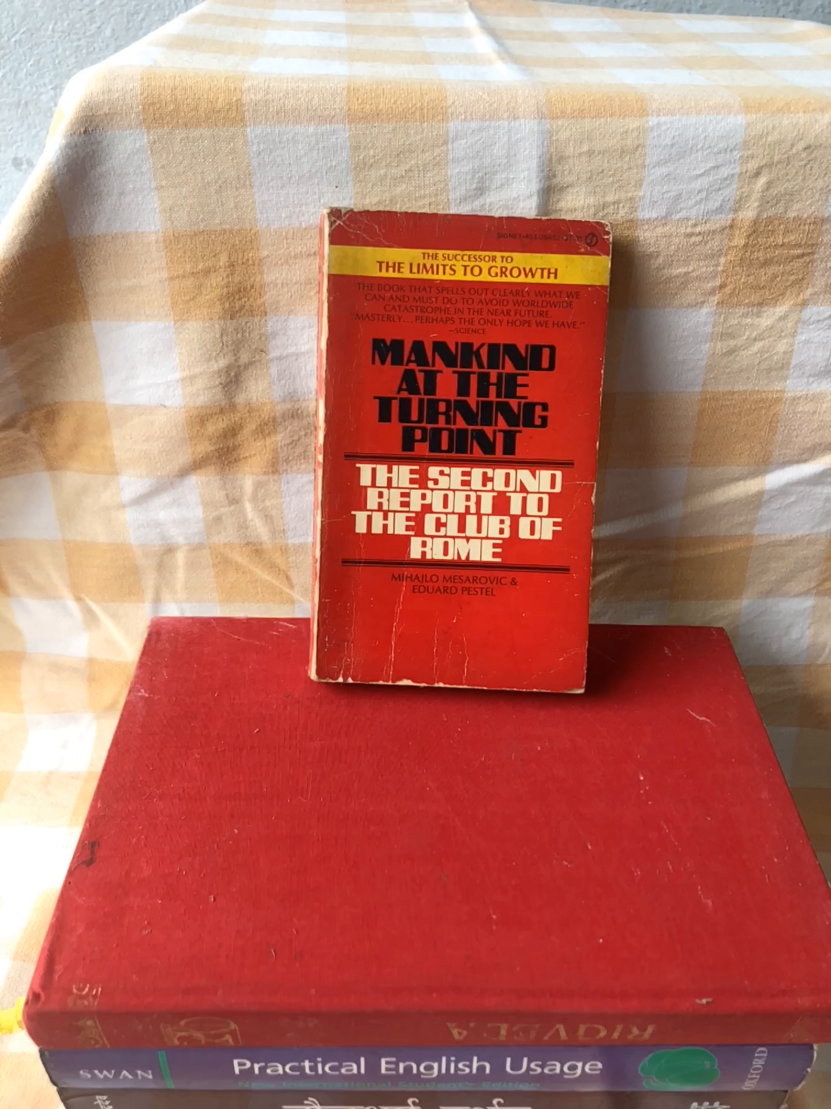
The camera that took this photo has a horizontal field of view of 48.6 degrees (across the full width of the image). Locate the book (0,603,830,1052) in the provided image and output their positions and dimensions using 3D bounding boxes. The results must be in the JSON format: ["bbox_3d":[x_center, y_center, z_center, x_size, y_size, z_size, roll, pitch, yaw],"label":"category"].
[{"bbox_3d":[0.006,0.100,0.385,0.280,0.040,0.191,-1,37,2],"label":"book"}]

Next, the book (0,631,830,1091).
[{"bbox_3d":[0.001,0.113,0.384,0.270,0.040,0.191,-1,37,2],"label":"book"}]

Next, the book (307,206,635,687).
[{"bbox_3d":[0.017,-0.039,0.352,0.110,0.170,0.040,2,12,-1],"label":"book"}]

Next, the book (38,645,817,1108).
[{"bbox_3d":[0.004,0.118,0.371,0.240,0.040,0.191,-1,37,2],"label":"book"}]
